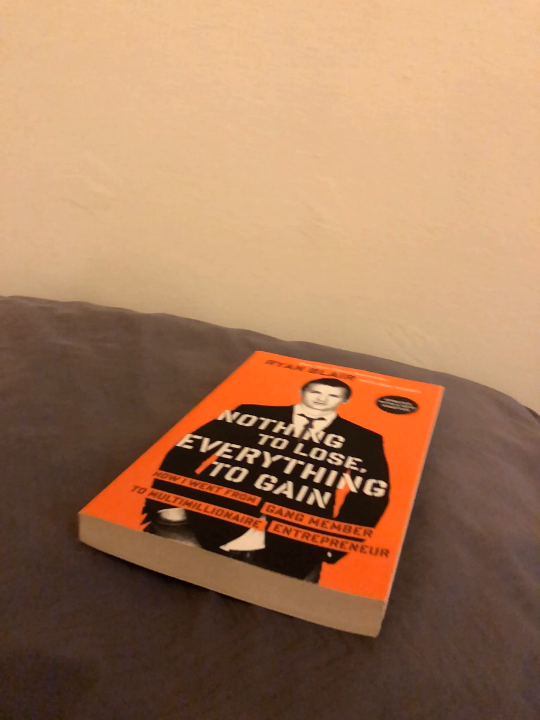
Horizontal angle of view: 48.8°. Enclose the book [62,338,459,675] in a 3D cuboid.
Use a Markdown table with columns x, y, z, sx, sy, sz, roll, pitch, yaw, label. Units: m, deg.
| x | y | z | sx | sy | sz | roll | pitch | yaw | label |
| --- | --- | --- | --- | --- | --- | --- | --- | --- | --- |
| 0.020 | 0.050 | 0.340 | 0.150 | 0.020 | 0.231 | 14 | 25 | 17 | book |
